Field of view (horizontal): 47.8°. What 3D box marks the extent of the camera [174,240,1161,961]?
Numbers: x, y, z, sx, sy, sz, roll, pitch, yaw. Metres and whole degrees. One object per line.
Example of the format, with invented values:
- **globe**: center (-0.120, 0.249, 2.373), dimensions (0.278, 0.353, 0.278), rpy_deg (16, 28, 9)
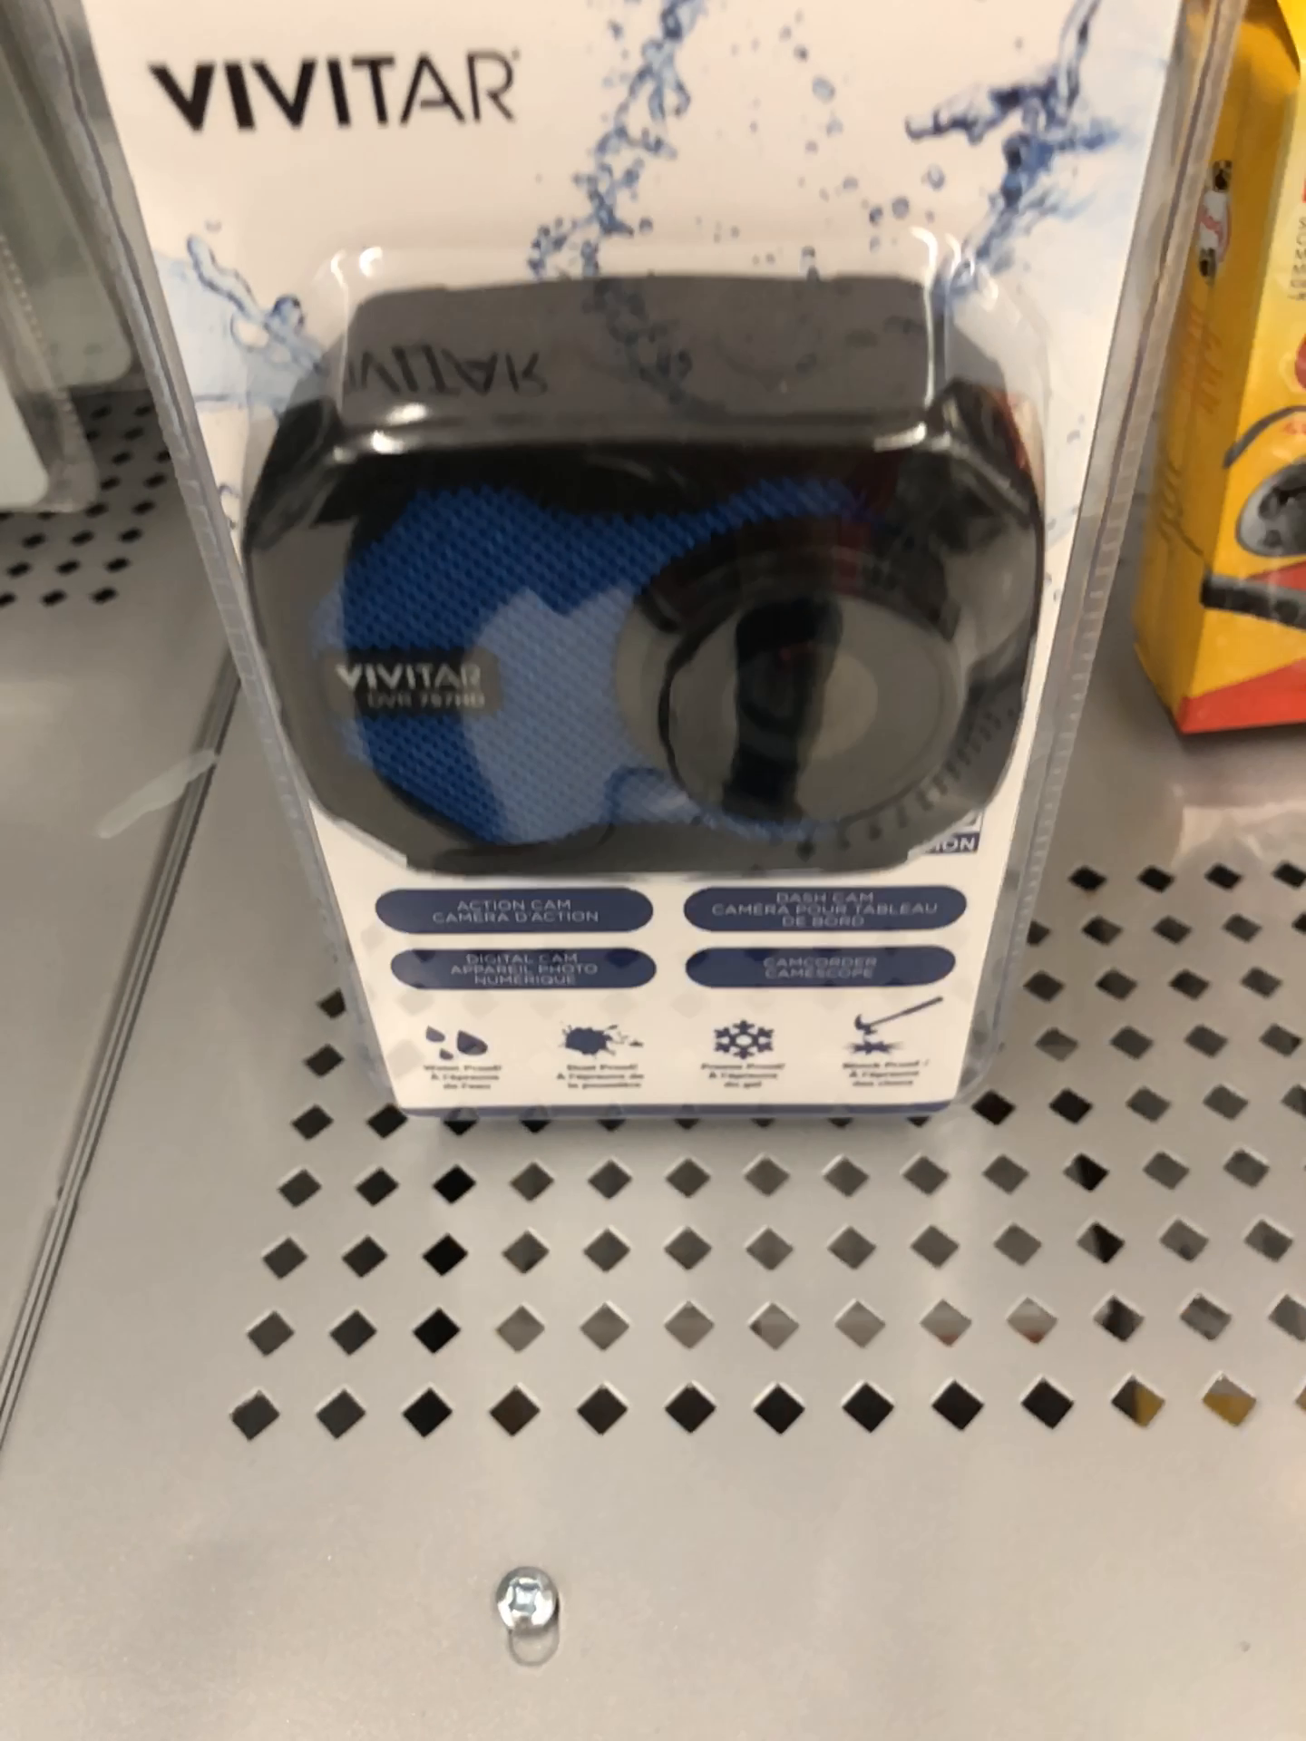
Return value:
- **camera**: center (0.002, -0.023, 0.136), dimensions (0.070, 0.050, 0.040), rpy_deg (-1, 47, 4)
